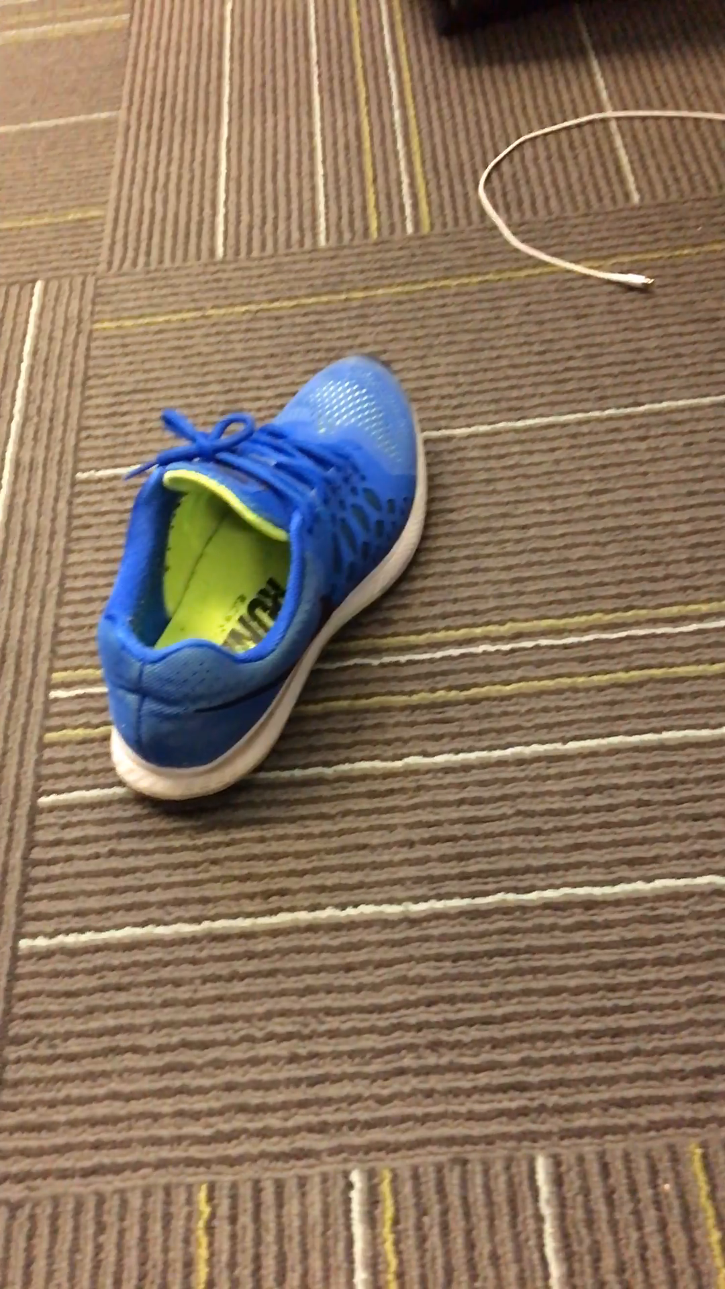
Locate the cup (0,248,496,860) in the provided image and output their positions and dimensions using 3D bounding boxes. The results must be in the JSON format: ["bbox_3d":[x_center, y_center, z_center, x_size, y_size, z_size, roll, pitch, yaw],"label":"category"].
[{"bbox_3d":[-0.041,-0.061,0.561,0.130,0.100,0.300,16,60,17],"label":"cup"}]
